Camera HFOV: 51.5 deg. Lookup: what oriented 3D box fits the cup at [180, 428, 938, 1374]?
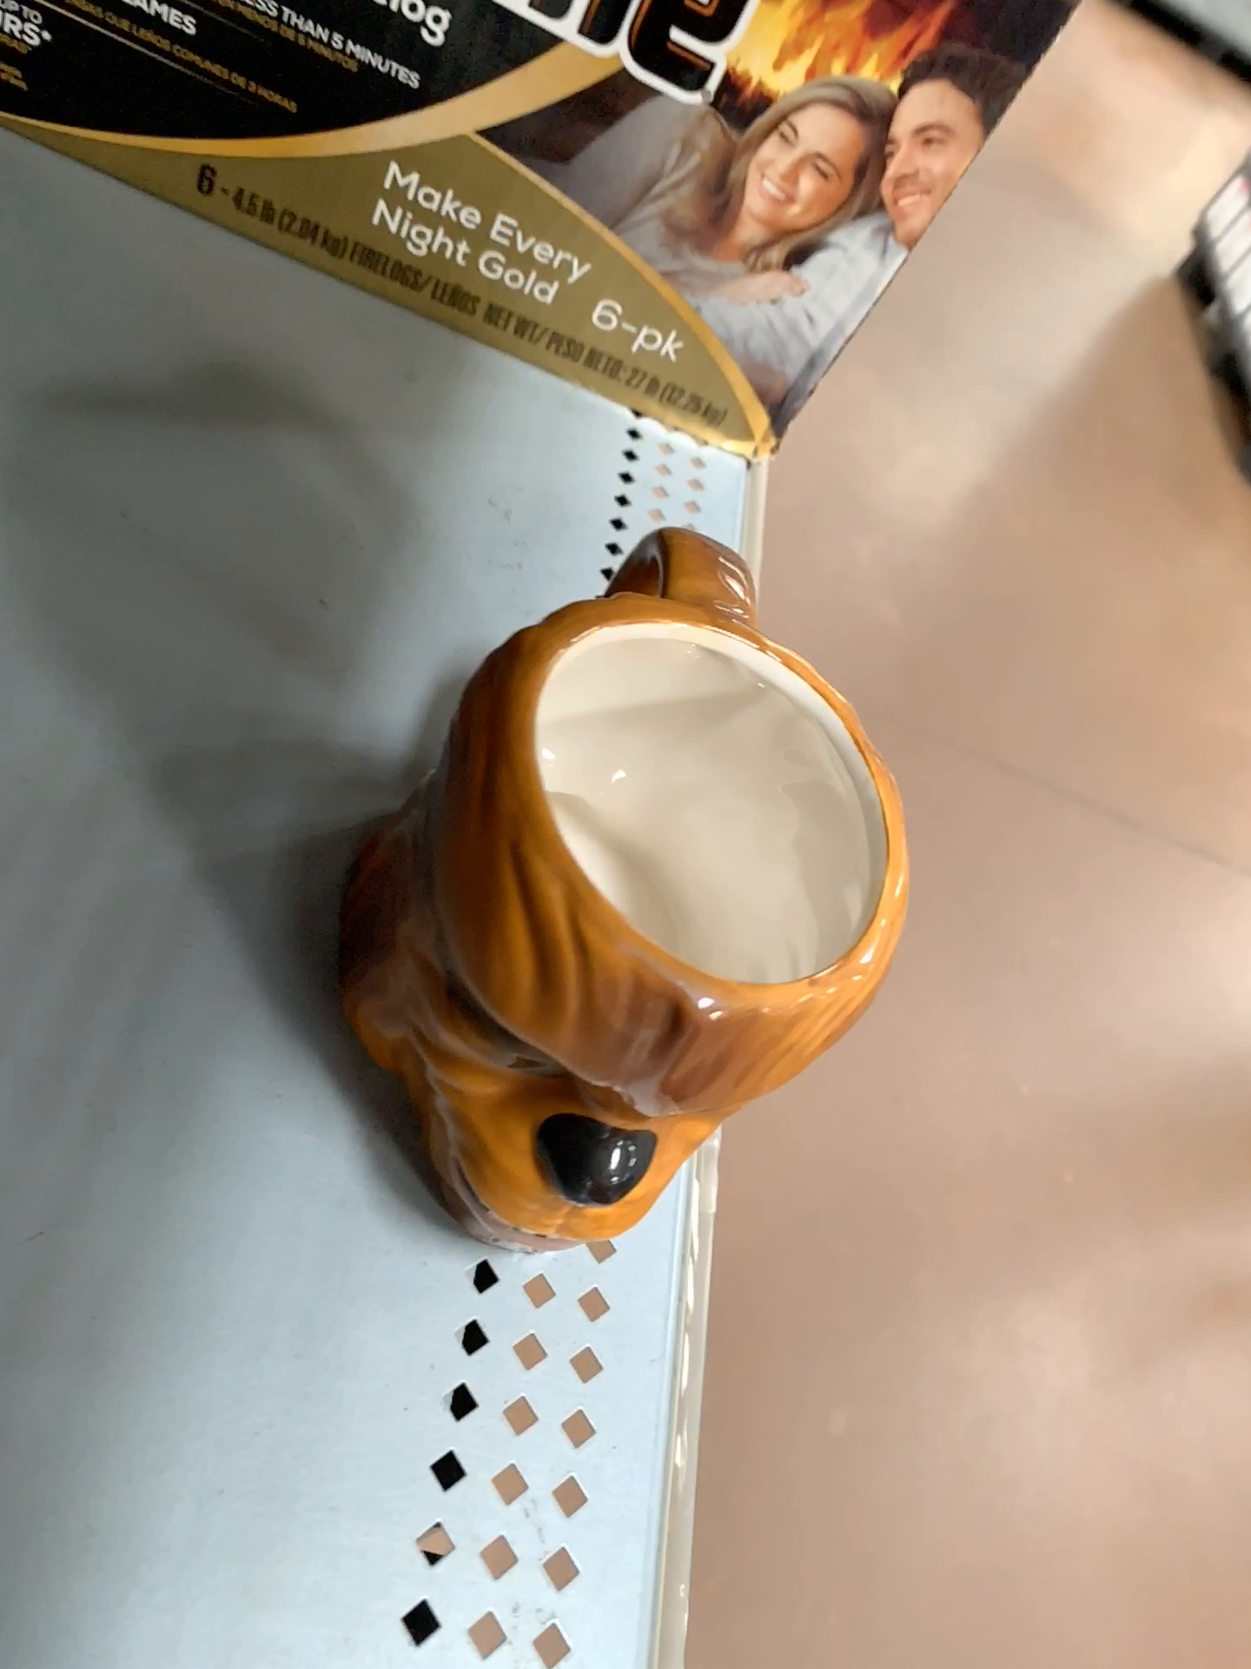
[{"bbox_3d":[-0.015,0.023,0.282,0.097,0.137,0.132,21,50,-15],"label":"cup"}]
